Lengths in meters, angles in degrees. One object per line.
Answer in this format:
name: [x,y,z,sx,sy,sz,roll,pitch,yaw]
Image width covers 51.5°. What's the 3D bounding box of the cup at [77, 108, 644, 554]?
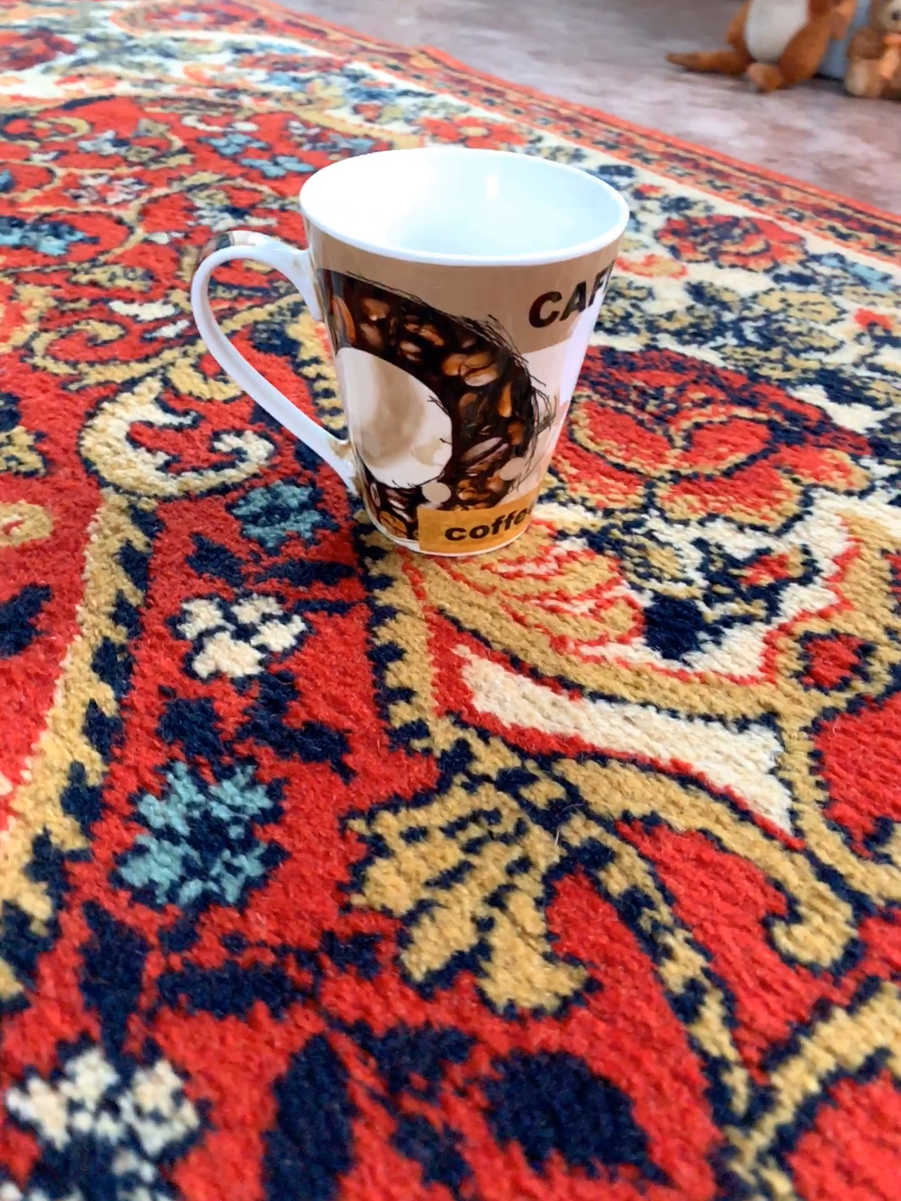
cup: [-0.021,-0.069,0.238,0.110,0.079,0.081,1,39,-5]
